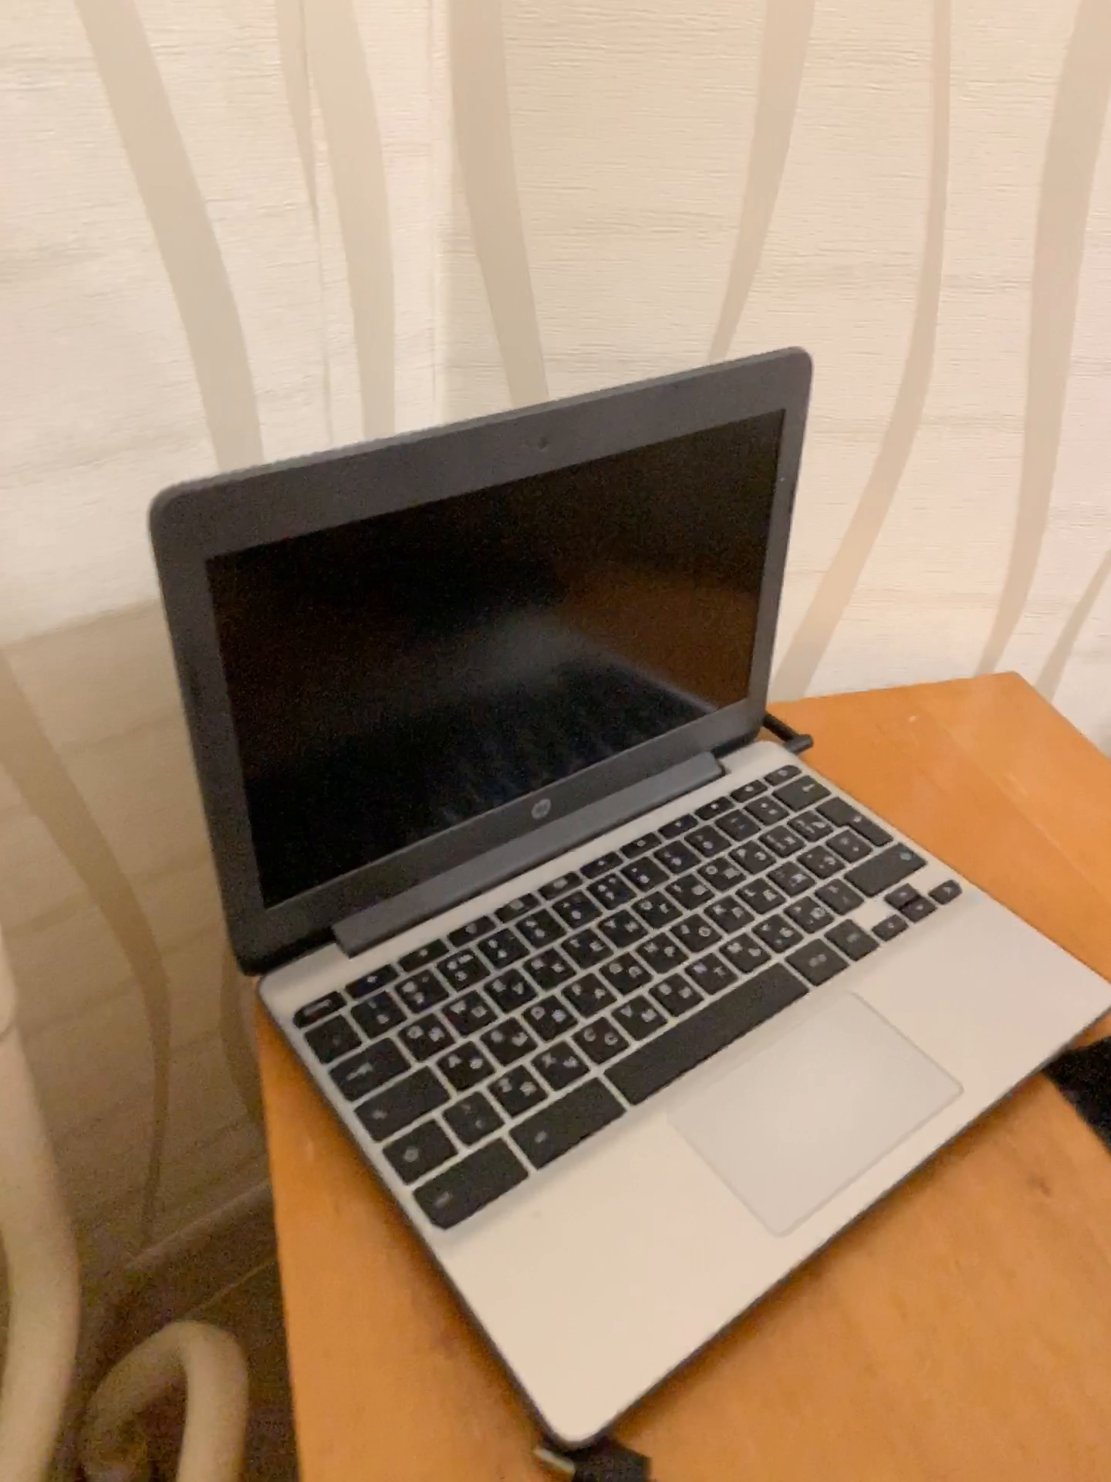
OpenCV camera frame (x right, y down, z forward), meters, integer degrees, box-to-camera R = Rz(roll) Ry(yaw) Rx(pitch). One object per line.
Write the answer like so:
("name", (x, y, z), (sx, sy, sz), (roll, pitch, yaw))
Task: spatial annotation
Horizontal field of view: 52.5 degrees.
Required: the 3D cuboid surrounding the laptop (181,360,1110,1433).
("laptop", (0.055, 0.013, 0.384), (0.272, 0.187, 0.207), (-22, 43, -31))
